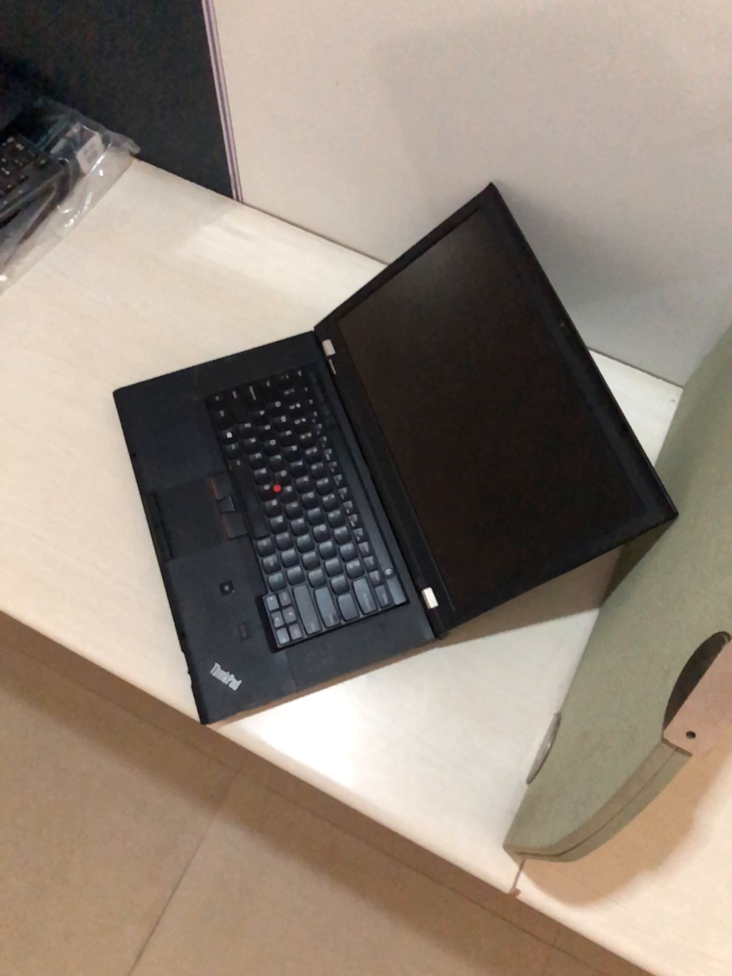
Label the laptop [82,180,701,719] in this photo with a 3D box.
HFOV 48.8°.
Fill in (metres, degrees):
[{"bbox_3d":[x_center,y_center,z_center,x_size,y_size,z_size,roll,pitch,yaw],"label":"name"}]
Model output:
[{"bbox_3d":[-0.002,-0.041,0.729,0.411,0.142,0.354,-18,67,-4],"label":"laptop"}]
